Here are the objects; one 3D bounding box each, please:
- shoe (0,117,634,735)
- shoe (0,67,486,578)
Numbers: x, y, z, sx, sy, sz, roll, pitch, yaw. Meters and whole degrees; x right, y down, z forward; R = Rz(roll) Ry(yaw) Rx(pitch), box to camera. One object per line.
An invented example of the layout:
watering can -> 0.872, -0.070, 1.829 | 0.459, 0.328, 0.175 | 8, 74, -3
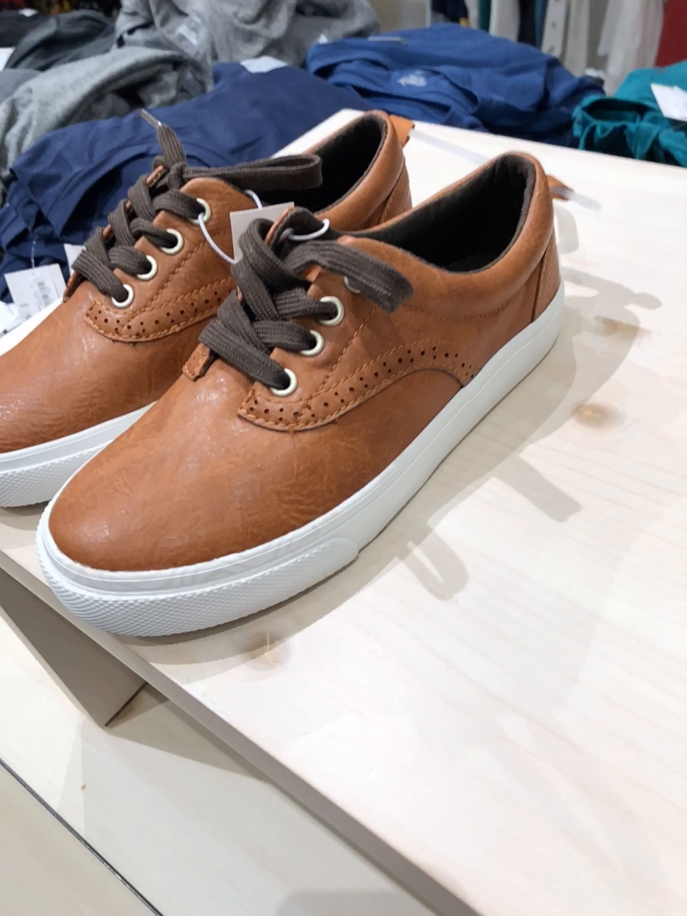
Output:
shoe -> -0.011, -0.027, 0.257 | 0.210, 0.080, 0.090 | -35, 50, -23
shoe -> -0.055, -0.066, 0.309 | 0.220, 0.090, 0.090 | -32, 48, -20
